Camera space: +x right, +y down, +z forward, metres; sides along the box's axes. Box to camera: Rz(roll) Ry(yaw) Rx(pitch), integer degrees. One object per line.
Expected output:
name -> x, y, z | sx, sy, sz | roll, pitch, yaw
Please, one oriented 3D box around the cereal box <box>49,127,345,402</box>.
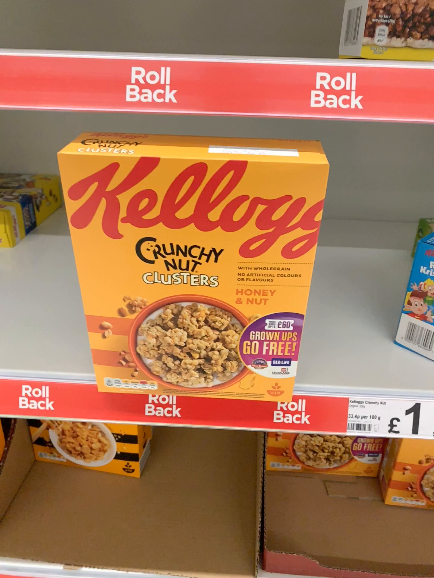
cereal box -> -0.016, -0.011, 0.388 | 0.200, 0.228, 0.061 | 3, 32, 1
